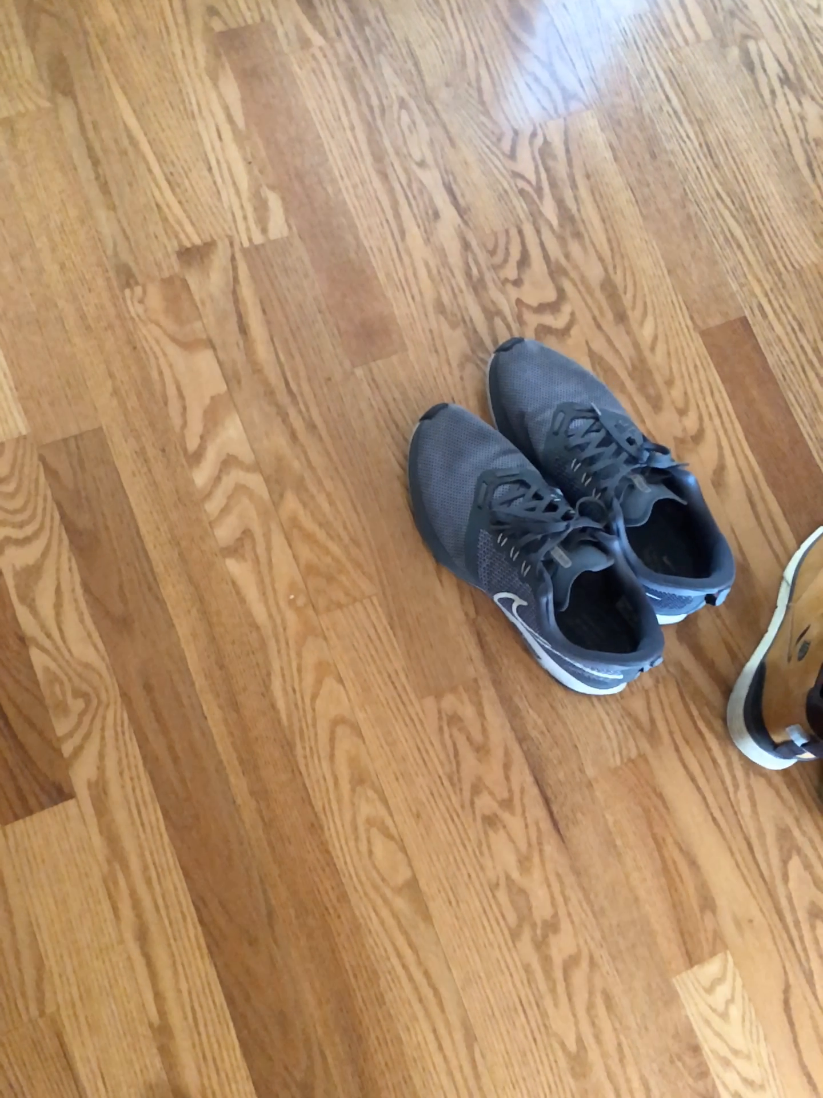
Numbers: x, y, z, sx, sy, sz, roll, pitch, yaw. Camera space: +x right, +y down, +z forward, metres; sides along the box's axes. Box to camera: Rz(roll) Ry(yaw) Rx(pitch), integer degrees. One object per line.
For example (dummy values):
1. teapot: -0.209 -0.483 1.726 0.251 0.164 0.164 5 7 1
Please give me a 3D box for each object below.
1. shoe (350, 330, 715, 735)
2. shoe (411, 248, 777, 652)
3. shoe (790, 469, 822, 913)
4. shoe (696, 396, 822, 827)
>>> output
1. shoe: 0.098 -0.011 0.797 0.140 0.100 0.320 -34 85 -14
2. shoe: 0.157 -0.087 0.823 0.140 0.100 0.330 -34 85 -14
3. shoe: 0.483 0.114 0.762 0.130 0.140 0.320 34 75 0
4. shoe: 0.402 0.053 0.769 0.130 0.140 0.320 34 75 0
